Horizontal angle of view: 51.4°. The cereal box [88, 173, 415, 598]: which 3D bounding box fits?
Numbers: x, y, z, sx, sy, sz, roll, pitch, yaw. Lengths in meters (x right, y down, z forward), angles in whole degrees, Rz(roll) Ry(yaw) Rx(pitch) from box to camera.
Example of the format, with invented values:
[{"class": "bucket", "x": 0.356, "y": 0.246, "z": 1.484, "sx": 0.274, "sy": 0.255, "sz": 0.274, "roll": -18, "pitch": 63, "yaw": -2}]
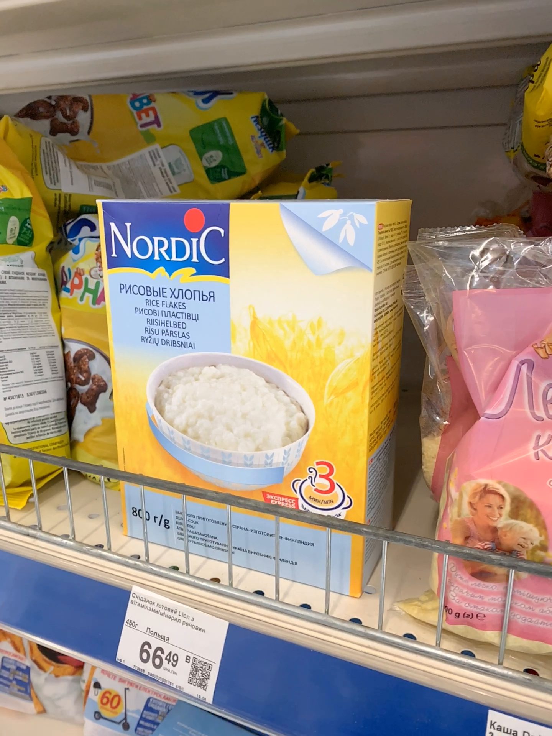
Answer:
[{"class": "cereal box", "x": -0.011, "y": -0.001, "z": 0.323, "sx": 0.150, "sy": 0.199, "sz": 0.080, "roll": 6, "pitch": 16, "yaw": 23}]
